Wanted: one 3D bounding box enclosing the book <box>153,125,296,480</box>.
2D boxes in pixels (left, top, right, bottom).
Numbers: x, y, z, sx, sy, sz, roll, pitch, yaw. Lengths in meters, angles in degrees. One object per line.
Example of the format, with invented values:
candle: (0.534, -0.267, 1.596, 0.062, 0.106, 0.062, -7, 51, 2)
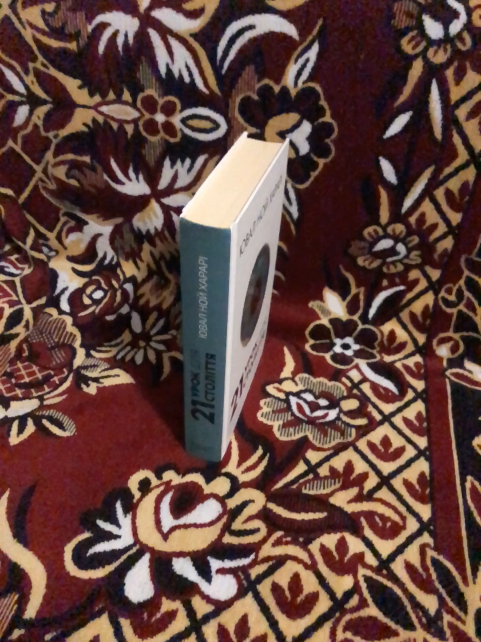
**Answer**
book: (-0.008, -0.013, 0.397, 0.040, 0.211, 0.154, 14, 39, 13)
